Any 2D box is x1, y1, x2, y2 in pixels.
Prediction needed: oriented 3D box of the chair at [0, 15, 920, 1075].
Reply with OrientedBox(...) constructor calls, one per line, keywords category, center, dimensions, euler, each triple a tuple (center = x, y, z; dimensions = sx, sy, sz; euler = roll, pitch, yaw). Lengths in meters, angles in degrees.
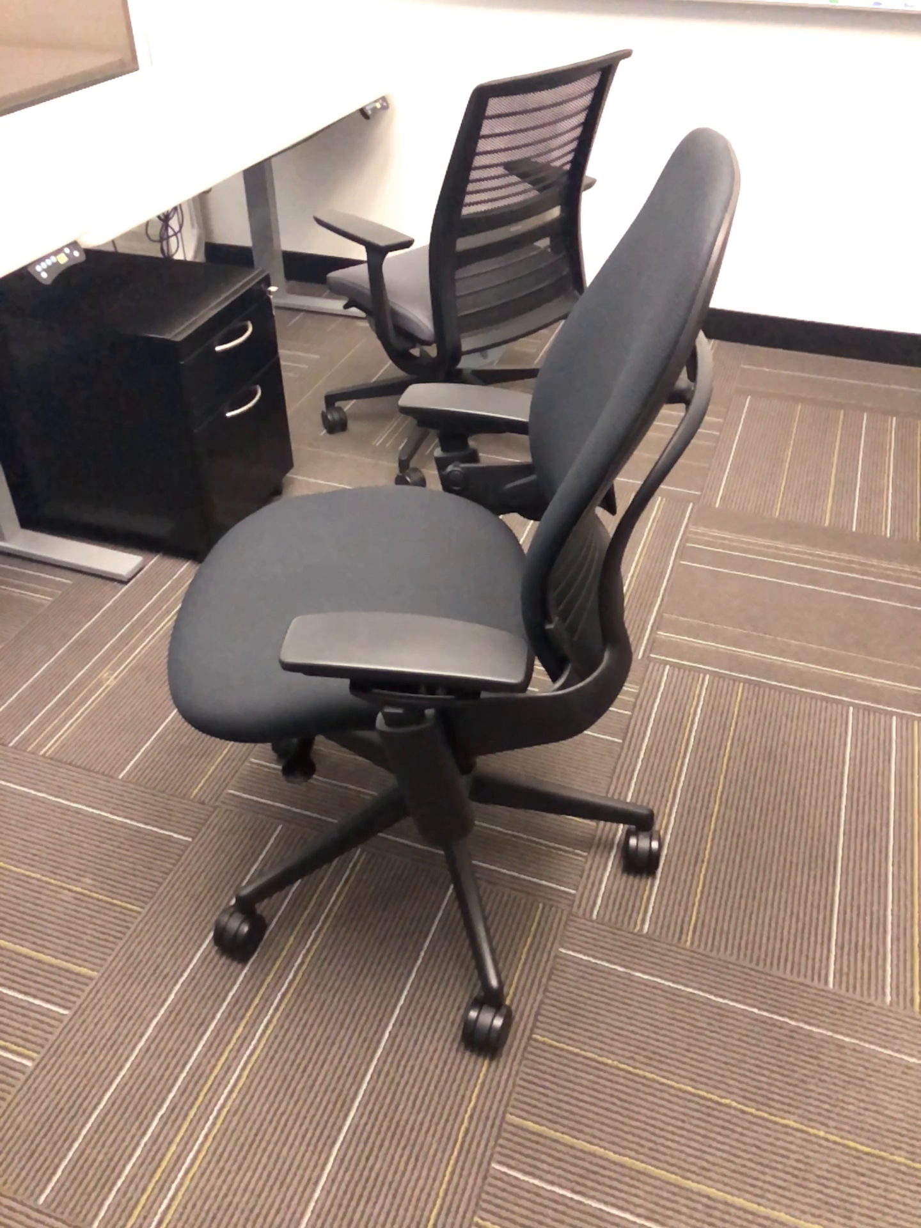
OrientedBox(category="chair", center=(-0.072, -0.089, 1.260), dimensions=(0.830, 1.035, 0.734), euler=(4, 38, 5))
